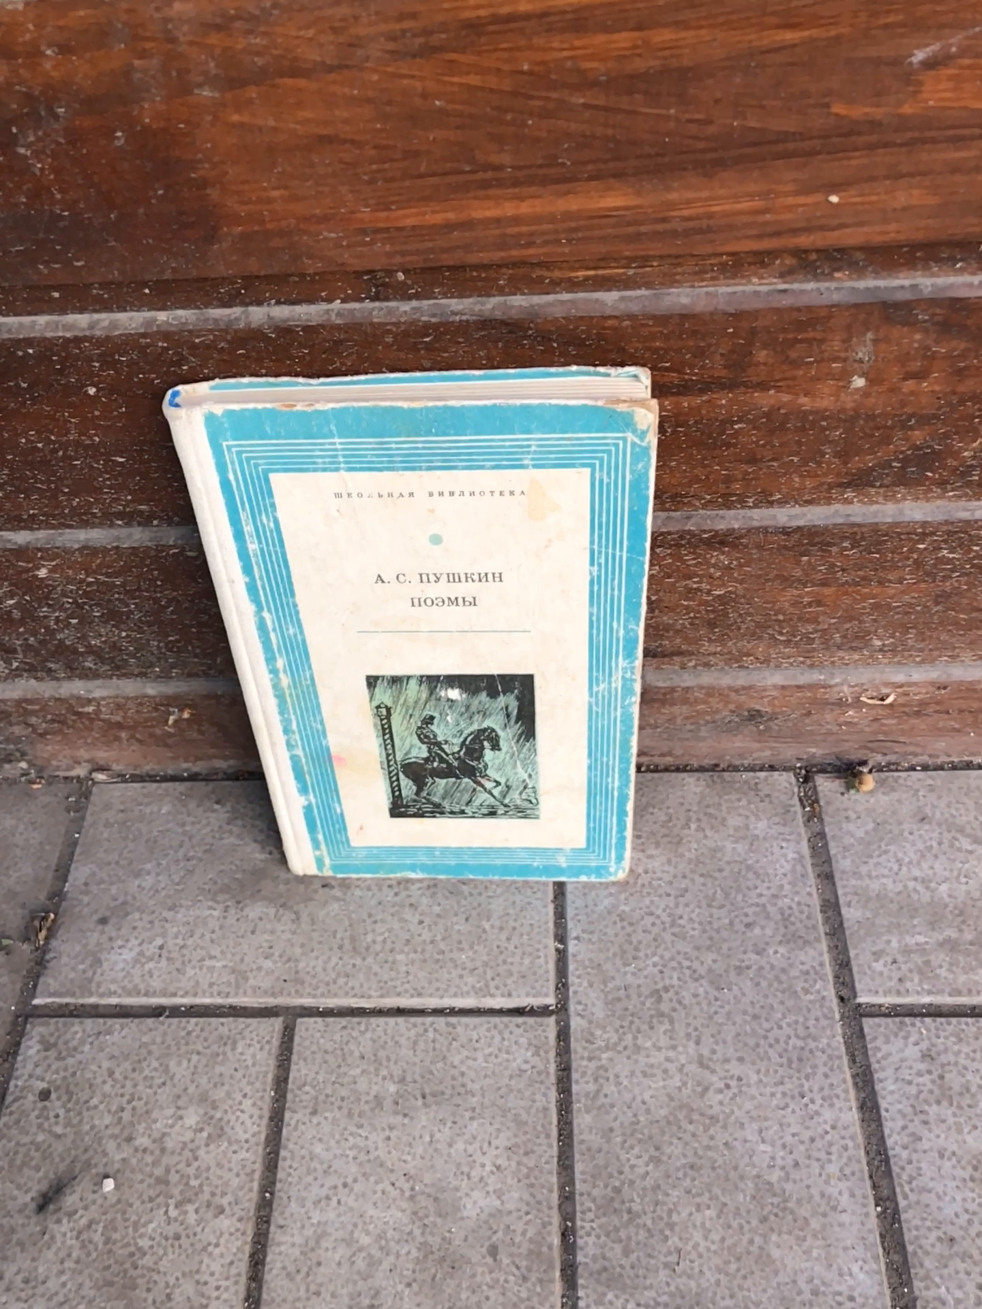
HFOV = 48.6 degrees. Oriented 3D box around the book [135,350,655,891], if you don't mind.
[{"bbox_3d":[-0.020,0.002,0.342,0.130,0.189,0.030,0,40,4],"label":"book"}]
